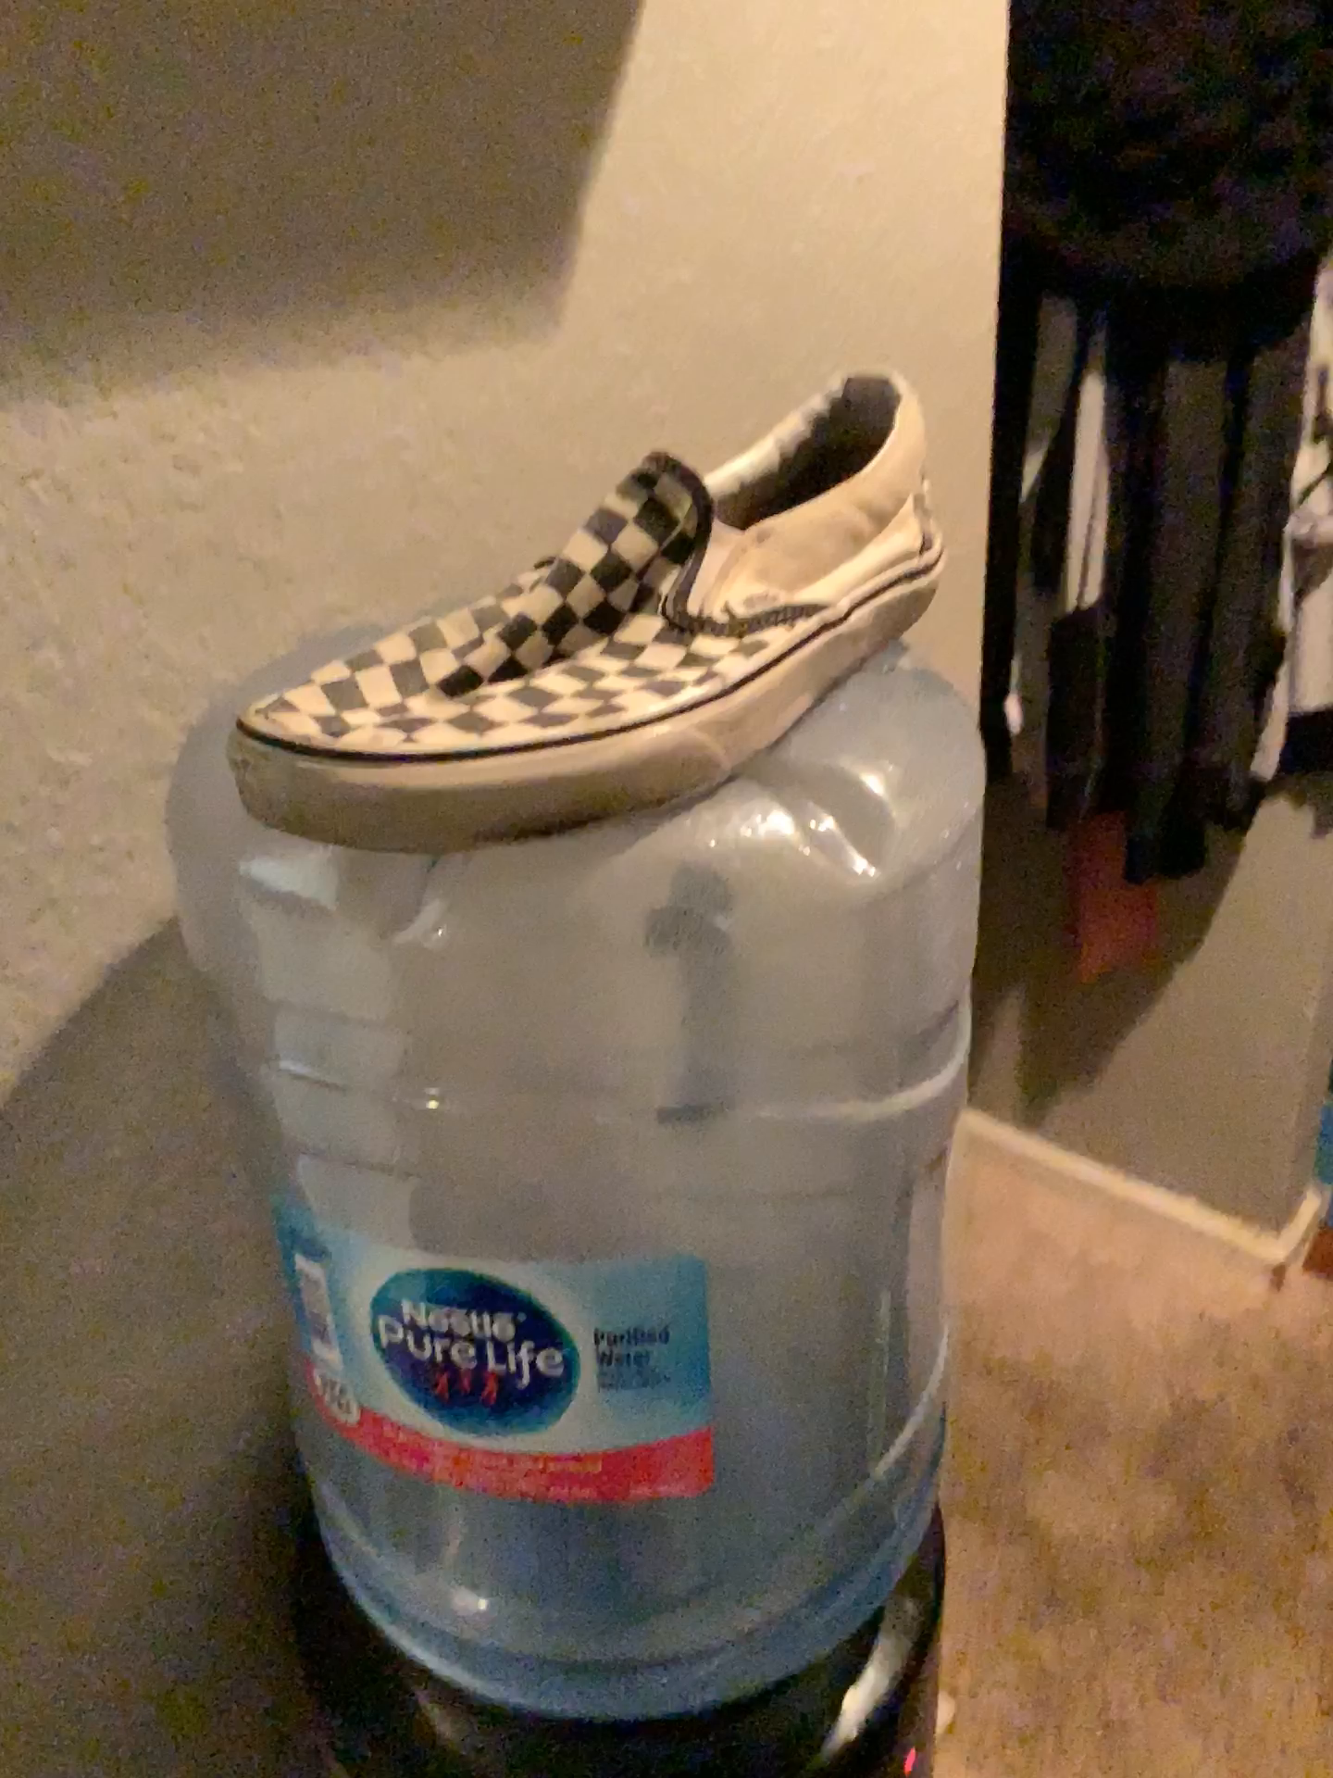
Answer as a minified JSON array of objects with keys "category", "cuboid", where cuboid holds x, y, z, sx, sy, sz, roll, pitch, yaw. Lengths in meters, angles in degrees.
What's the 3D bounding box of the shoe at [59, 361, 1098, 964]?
[{"category":"shoe","cuboid":[-0.007,-0.089,0.439,0.130,0.080,0.280,22,37,40]}]
